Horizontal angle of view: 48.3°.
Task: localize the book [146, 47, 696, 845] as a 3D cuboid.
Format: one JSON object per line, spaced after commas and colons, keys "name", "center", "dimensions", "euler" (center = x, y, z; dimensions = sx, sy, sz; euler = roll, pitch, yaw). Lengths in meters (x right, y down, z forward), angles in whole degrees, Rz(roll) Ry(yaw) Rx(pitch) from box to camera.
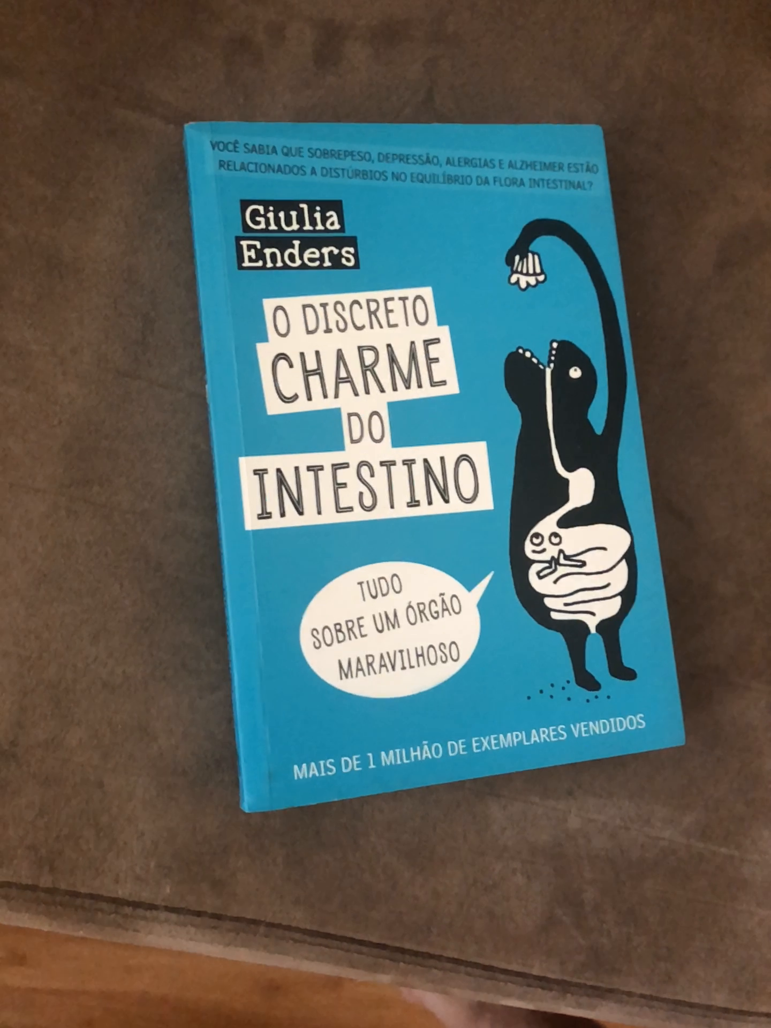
{"name": "book", "center": [0.008, -0.027, 0.262], "dimensions": [0.140, 0.030, 0.220], "euler": [-5, 84, -13]}
